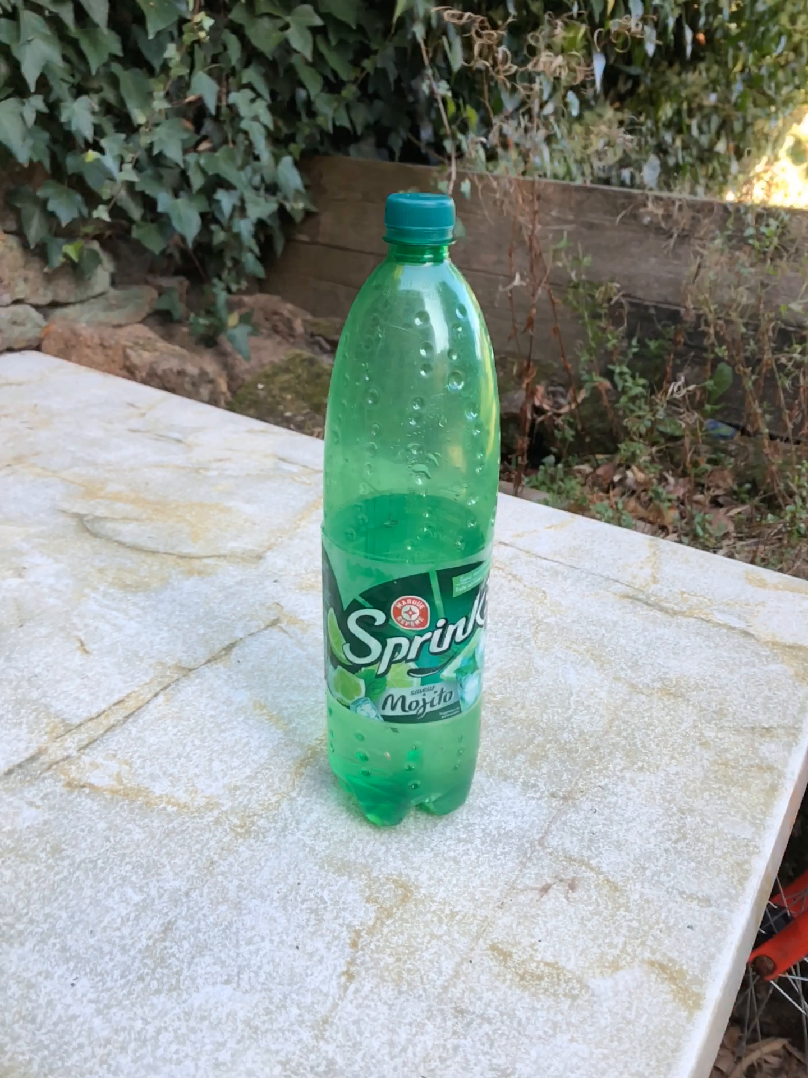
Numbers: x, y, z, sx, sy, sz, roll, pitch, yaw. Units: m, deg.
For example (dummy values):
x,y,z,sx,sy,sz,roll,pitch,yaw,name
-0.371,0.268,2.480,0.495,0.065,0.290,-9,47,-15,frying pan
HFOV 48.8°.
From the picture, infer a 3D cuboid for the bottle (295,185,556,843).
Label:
x,y,z,sx,sy,sz,roll,pitch,yaw,name
-0.004,-0.002,0.439,0.090,0.308,0.090,3,28,-2,bottle
